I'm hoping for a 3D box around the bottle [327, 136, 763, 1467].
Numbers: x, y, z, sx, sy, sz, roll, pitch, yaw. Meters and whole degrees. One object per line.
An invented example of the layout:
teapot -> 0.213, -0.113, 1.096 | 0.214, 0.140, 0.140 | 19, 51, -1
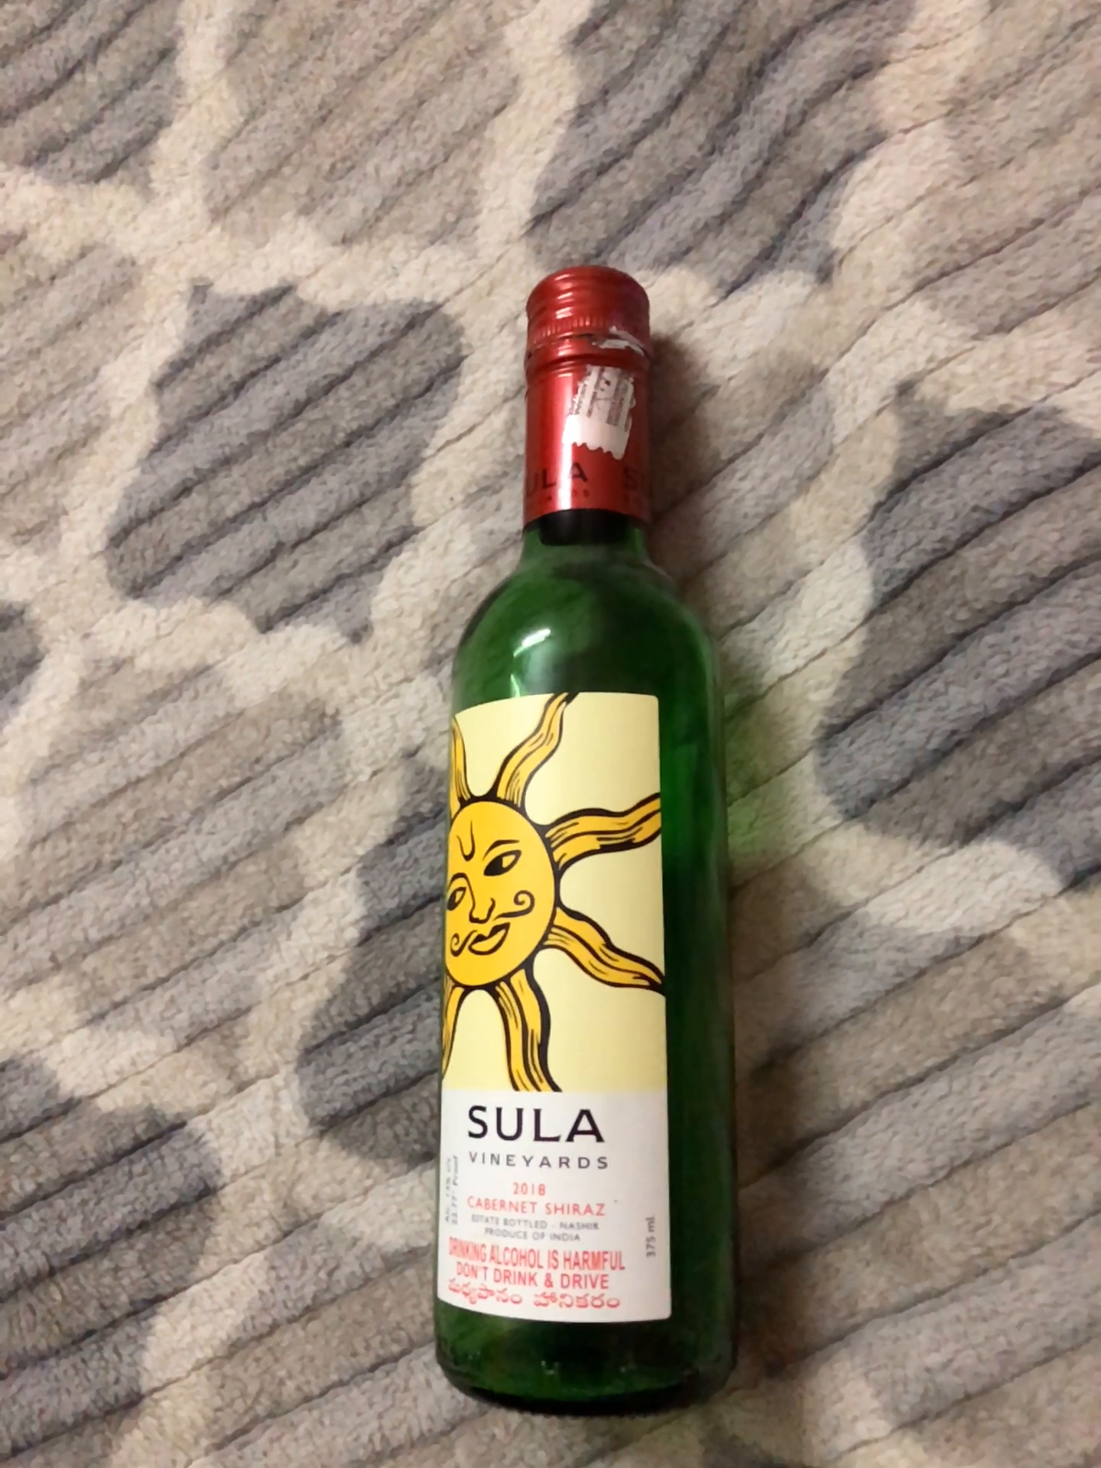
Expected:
bottle -> 0.002, 0.012, 0.233 | 0.060, 0.050, 0.230 | -4, 78, 24
